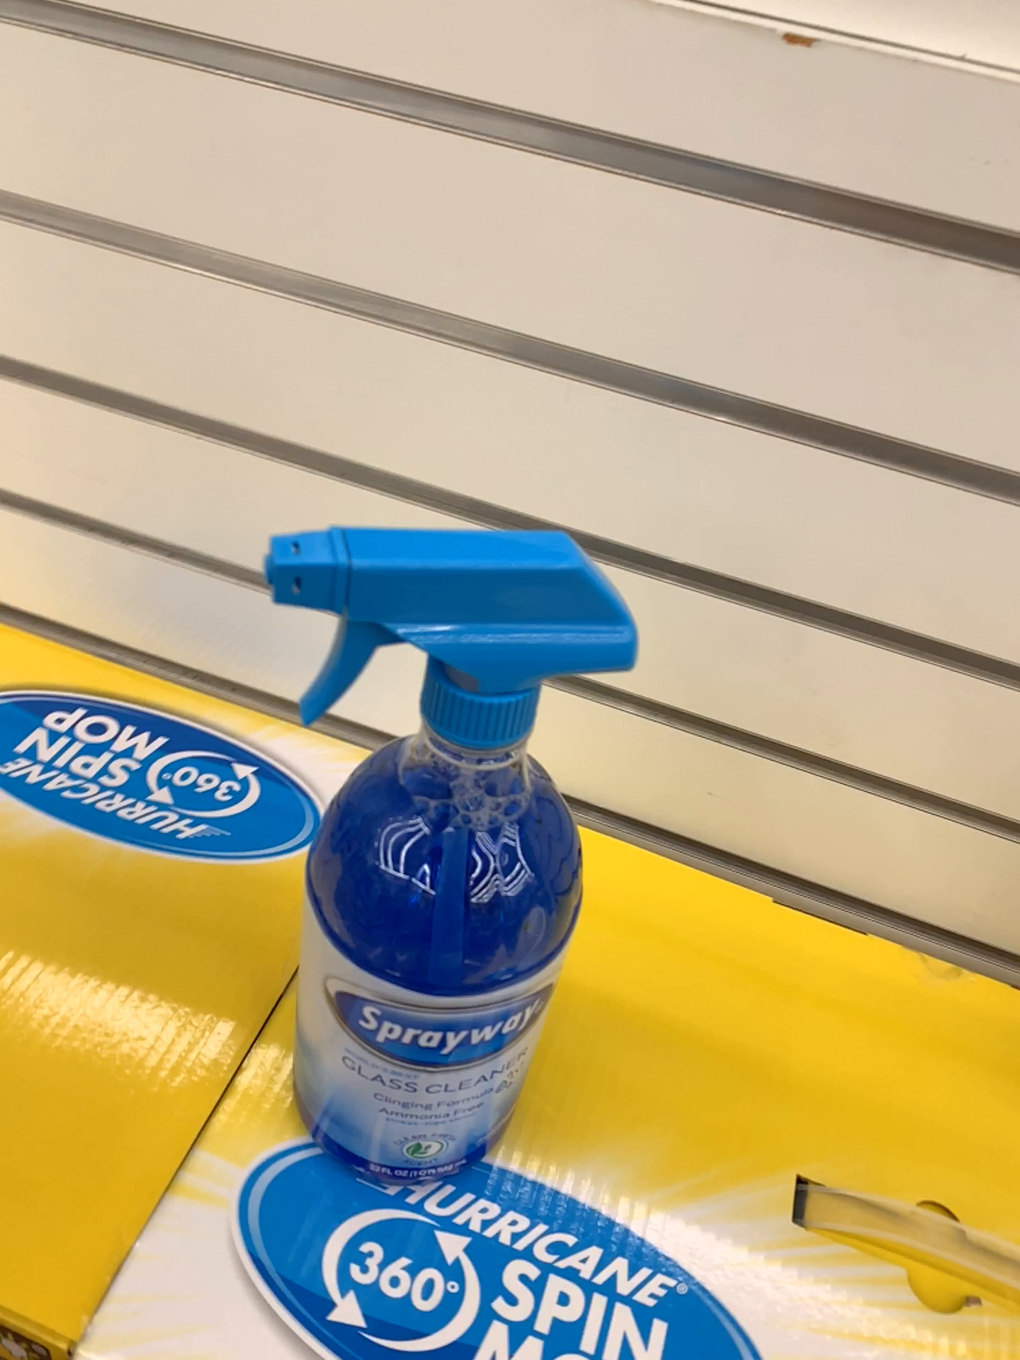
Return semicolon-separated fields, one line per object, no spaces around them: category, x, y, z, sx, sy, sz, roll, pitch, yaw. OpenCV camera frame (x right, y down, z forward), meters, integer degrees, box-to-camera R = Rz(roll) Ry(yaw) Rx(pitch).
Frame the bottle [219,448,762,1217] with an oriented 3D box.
bottle;-0.023;0.064;0.319;0.110;0.239;0.090;5;40;-8
